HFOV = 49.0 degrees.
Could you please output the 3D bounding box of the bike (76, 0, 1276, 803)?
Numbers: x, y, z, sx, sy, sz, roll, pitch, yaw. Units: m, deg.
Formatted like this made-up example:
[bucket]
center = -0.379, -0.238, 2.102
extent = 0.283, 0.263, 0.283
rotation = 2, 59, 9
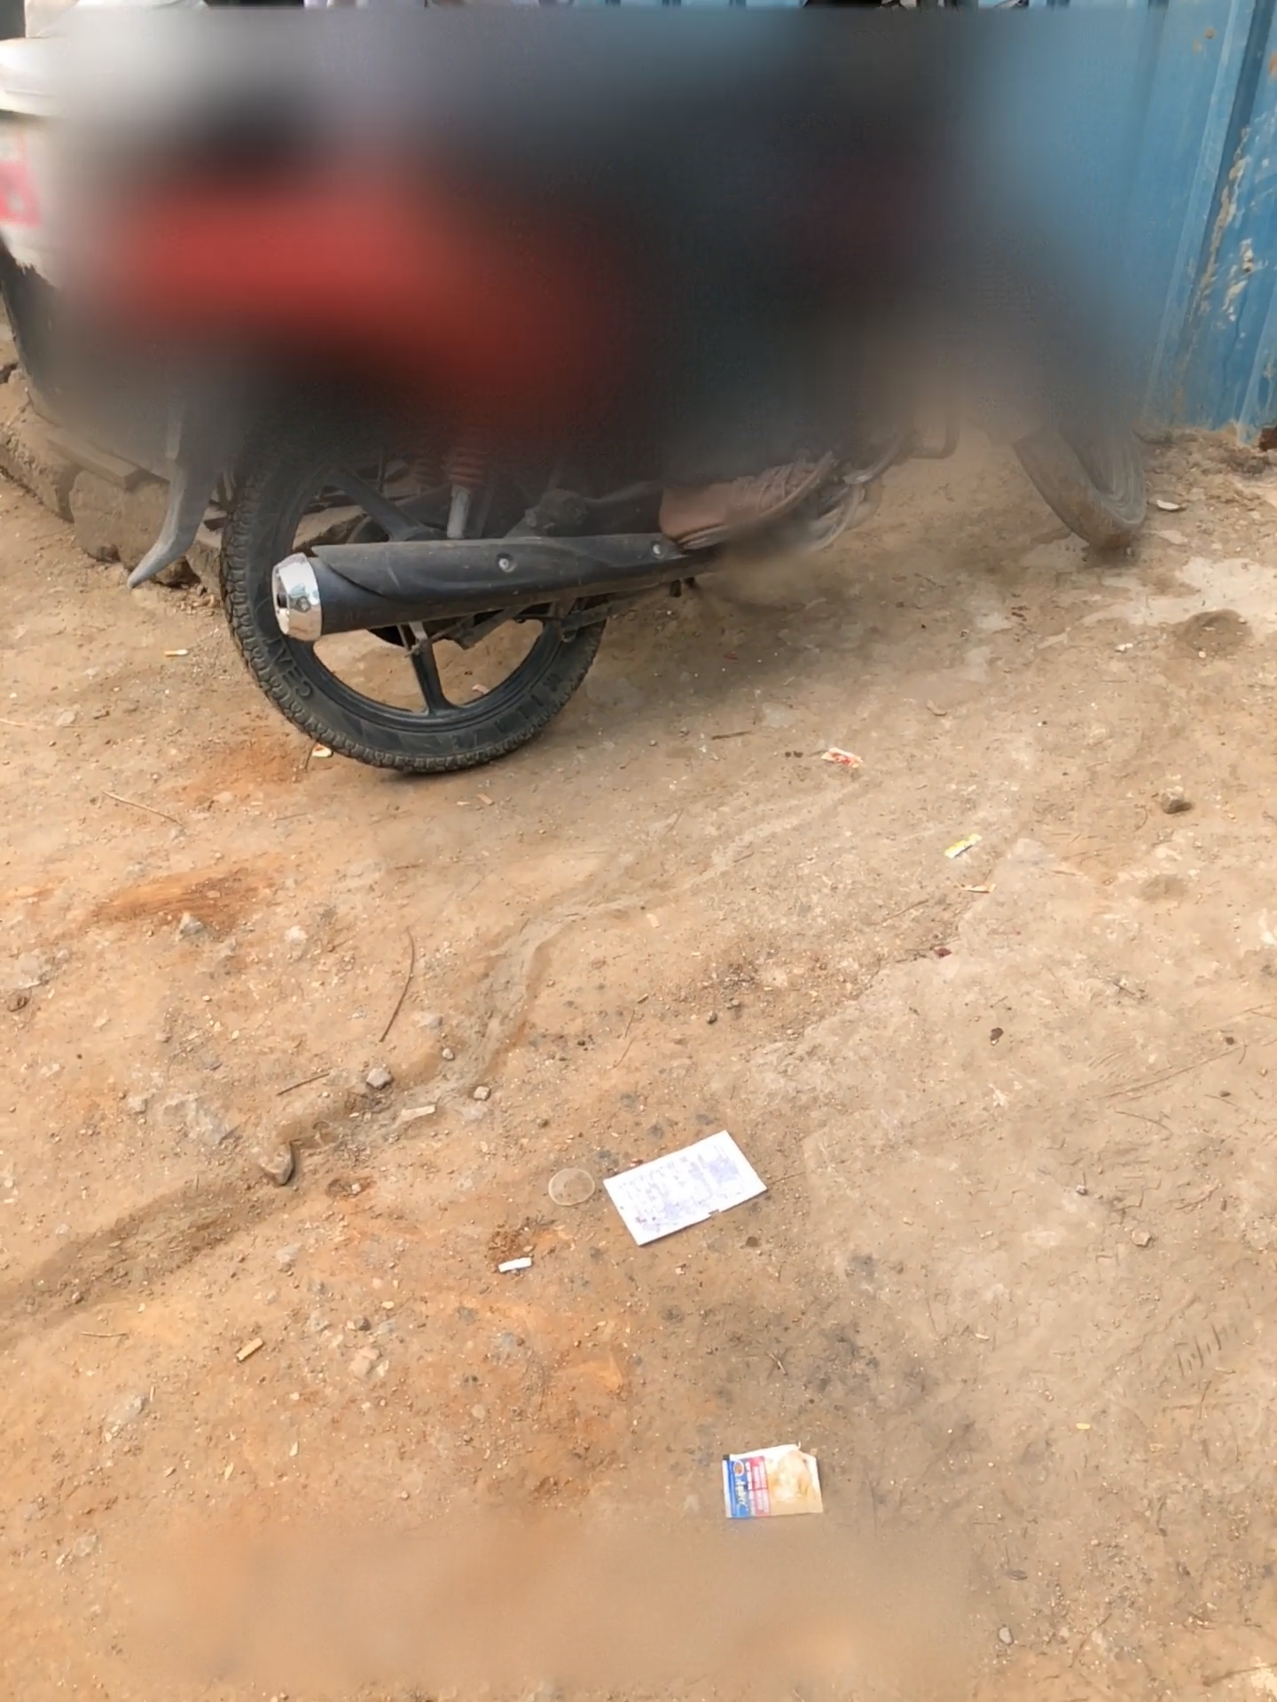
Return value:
[bike]
center = 0.073, -1.082, 2.290
extent = 1.634, 1.129, 0.737
rotation = -25, 42, -22
